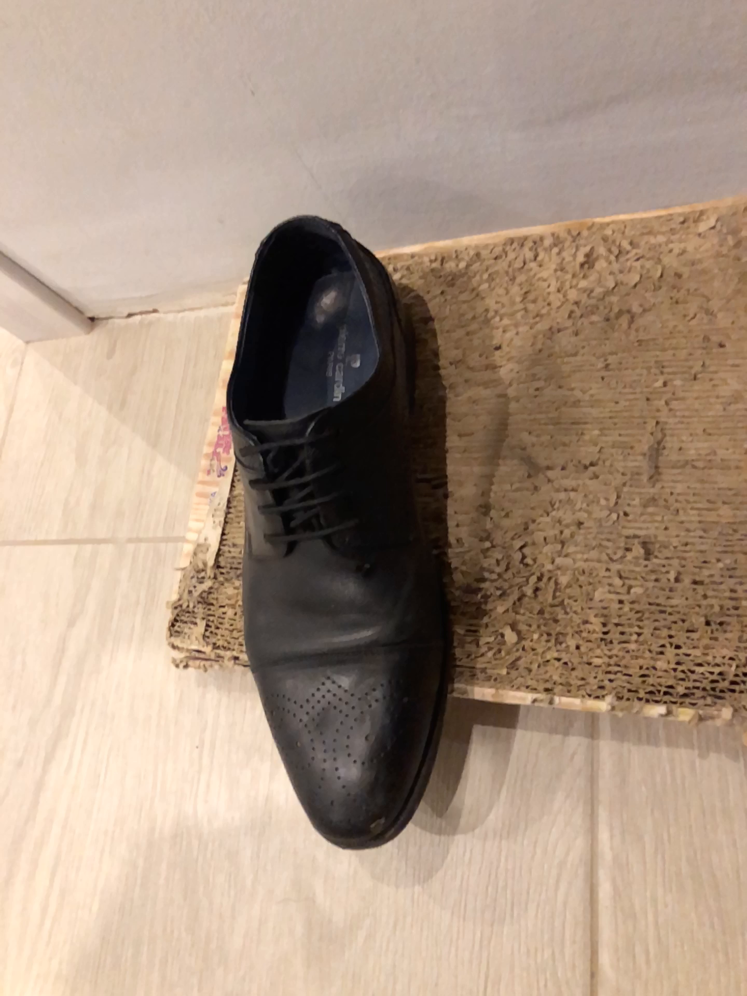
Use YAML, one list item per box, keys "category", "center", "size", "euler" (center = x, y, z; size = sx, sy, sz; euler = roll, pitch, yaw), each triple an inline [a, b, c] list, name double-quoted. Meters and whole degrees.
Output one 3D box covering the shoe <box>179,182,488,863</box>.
- category: "shoe"
  center: [-0.014, 0.011, 0.379]
  size: [0.090, 0.100, 0.281]
  euler: [-9, 68, 21]
